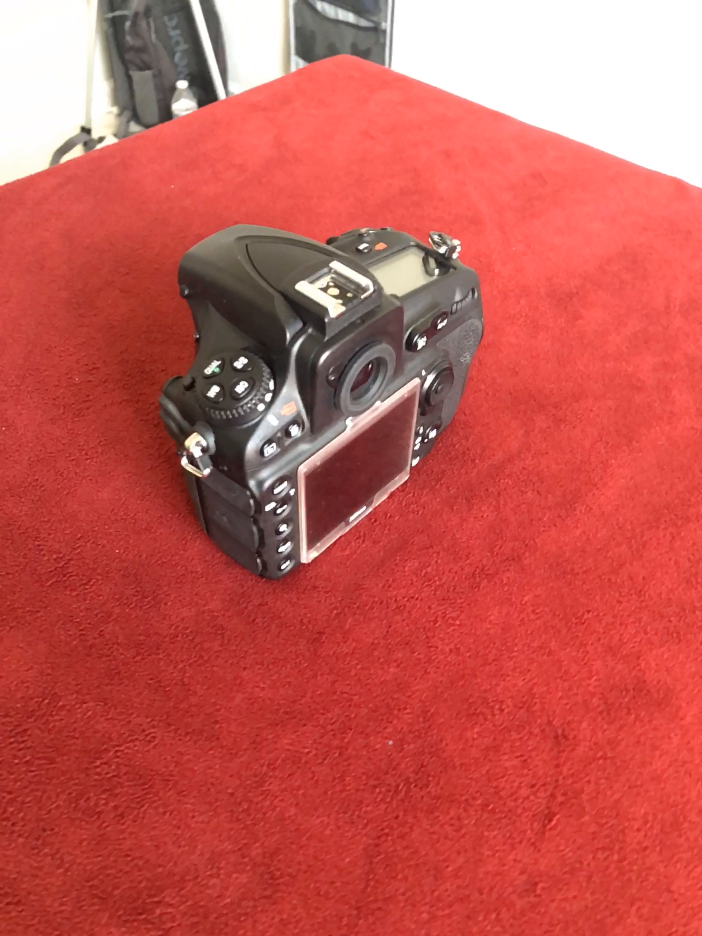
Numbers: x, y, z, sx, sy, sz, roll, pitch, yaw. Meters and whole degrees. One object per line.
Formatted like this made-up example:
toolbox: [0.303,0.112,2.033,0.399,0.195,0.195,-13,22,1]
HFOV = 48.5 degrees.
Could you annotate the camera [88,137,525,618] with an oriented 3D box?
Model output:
camera: [-0.011,-0.042,0.334,0.083,0.129,0.146,33,55,27]
